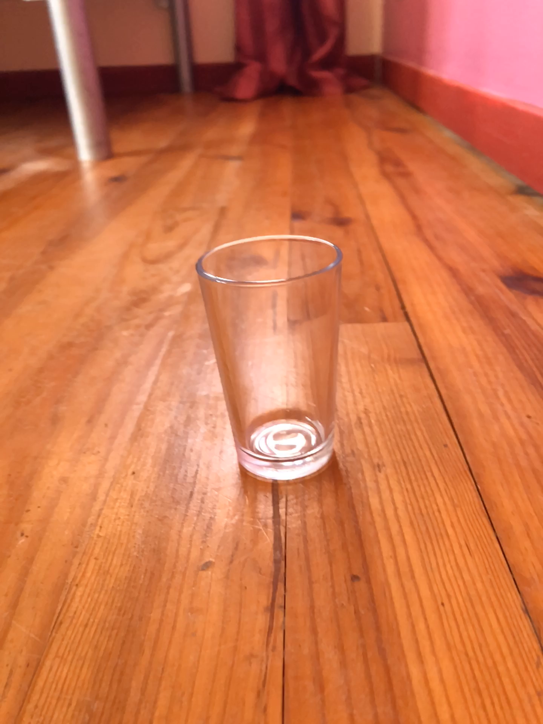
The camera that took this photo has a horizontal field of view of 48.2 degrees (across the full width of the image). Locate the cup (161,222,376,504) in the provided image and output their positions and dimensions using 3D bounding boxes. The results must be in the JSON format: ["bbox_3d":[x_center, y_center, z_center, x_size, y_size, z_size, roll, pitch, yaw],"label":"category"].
[{"bbox_3d":[0.000,-0.003,0.226,0.051,0.079,0.054,-3,27,2],"label":"cup"}]
